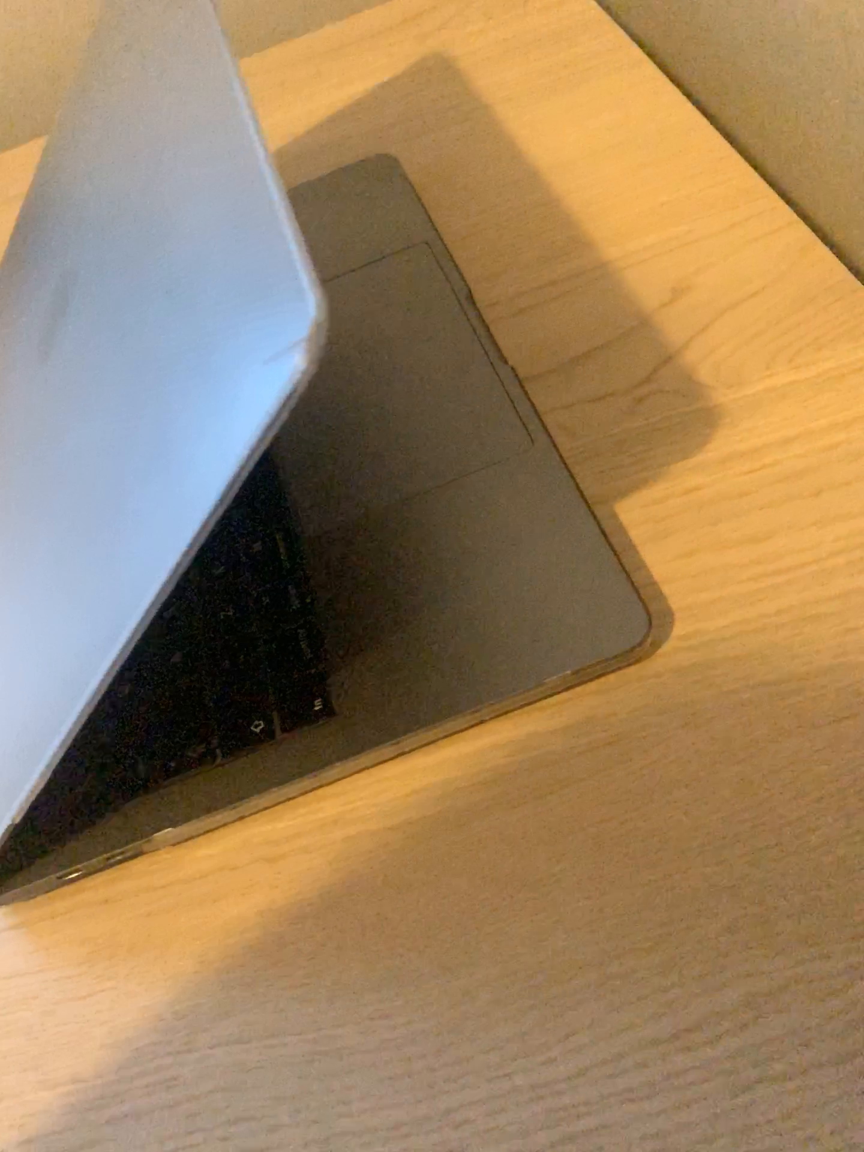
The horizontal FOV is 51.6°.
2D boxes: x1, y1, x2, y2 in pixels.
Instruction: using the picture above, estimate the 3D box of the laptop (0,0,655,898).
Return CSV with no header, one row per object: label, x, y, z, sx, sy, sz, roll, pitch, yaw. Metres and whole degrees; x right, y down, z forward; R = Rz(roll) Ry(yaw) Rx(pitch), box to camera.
laptop,-0.092,-0.097,0.299,0.207,0.127,0.310,-21,51,0
